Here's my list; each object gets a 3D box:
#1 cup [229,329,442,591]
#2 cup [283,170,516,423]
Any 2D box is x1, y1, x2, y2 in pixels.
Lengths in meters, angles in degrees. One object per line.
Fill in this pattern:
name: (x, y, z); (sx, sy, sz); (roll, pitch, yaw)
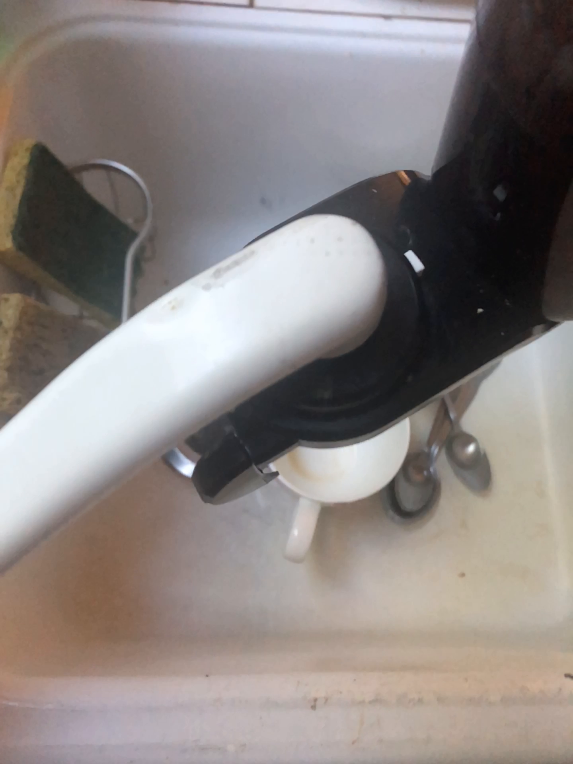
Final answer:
cup: (0.032, 0.054, 0.432); (0.100, 0.070, 0.141); (18, 70, 1)
cup: (0.077, -0.064, 0.480); (0.110, 0.070, 0.150); (-17, 73, -11)
